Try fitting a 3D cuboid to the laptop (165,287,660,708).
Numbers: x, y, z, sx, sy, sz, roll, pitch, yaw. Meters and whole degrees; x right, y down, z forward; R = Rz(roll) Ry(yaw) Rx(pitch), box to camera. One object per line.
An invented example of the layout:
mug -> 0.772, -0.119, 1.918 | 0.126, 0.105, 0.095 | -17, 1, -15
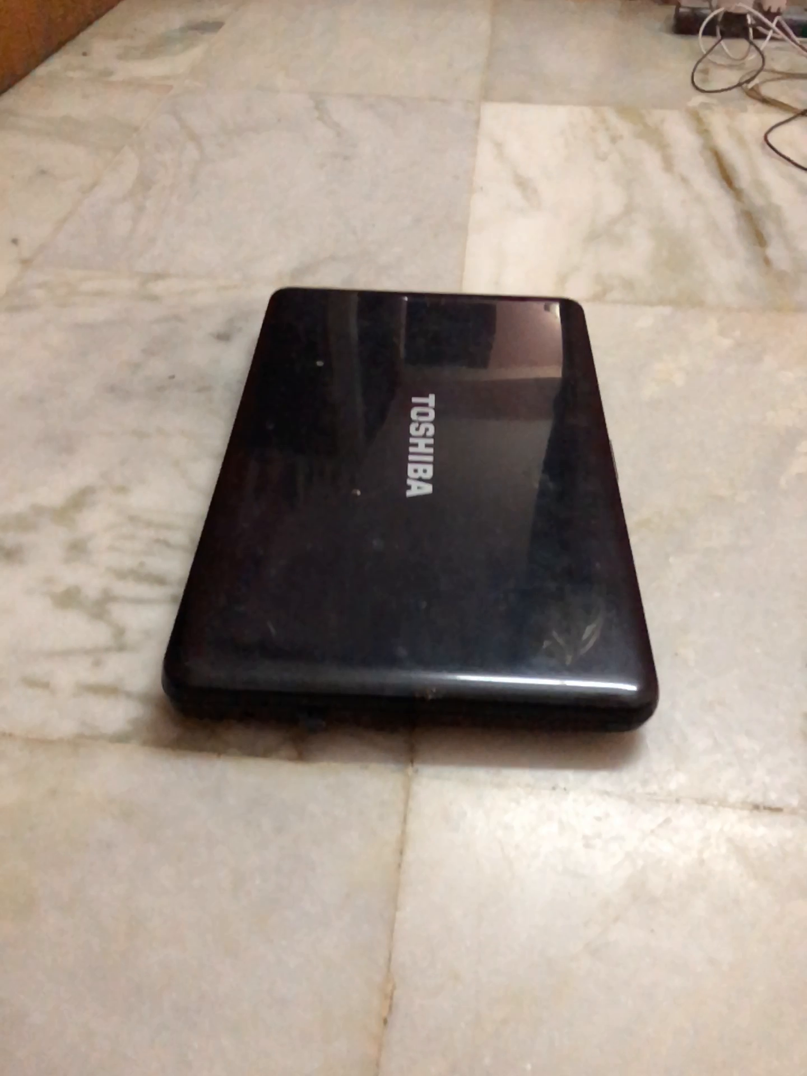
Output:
laptop -> 0.011, -0.054, 0.533 | 0.224, 0.004, 0.361 | 3, 44, 0
